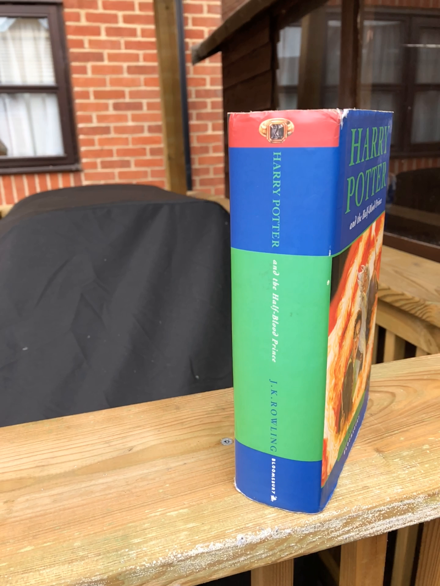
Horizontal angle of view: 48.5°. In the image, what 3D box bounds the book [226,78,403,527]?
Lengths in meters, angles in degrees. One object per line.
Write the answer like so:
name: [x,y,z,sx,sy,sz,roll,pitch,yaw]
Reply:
book: [0.062,-0.005,0.290,0.060,0.209,0.141,6,18,24]
